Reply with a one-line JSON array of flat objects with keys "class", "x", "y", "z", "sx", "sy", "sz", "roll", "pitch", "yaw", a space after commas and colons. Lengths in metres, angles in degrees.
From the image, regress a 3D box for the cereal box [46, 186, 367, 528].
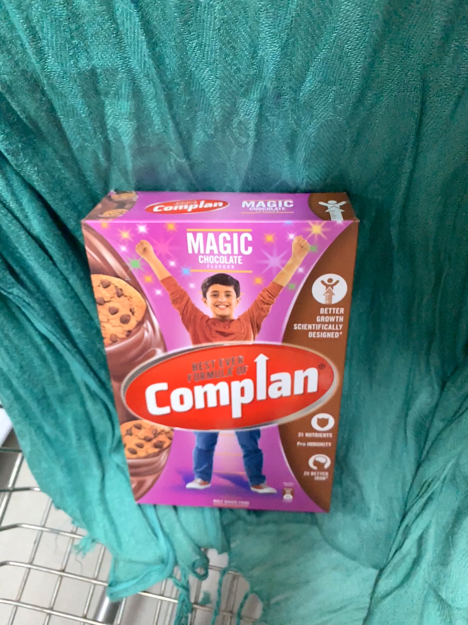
[{"class": "cereal box", "x": -0.009, "y": 0.037, "z": 0.313, "sx": 0.160, "sy": 0.220, "sz": 0.050, "roll": 1, "pitch": 28, "yaw": 6}]
